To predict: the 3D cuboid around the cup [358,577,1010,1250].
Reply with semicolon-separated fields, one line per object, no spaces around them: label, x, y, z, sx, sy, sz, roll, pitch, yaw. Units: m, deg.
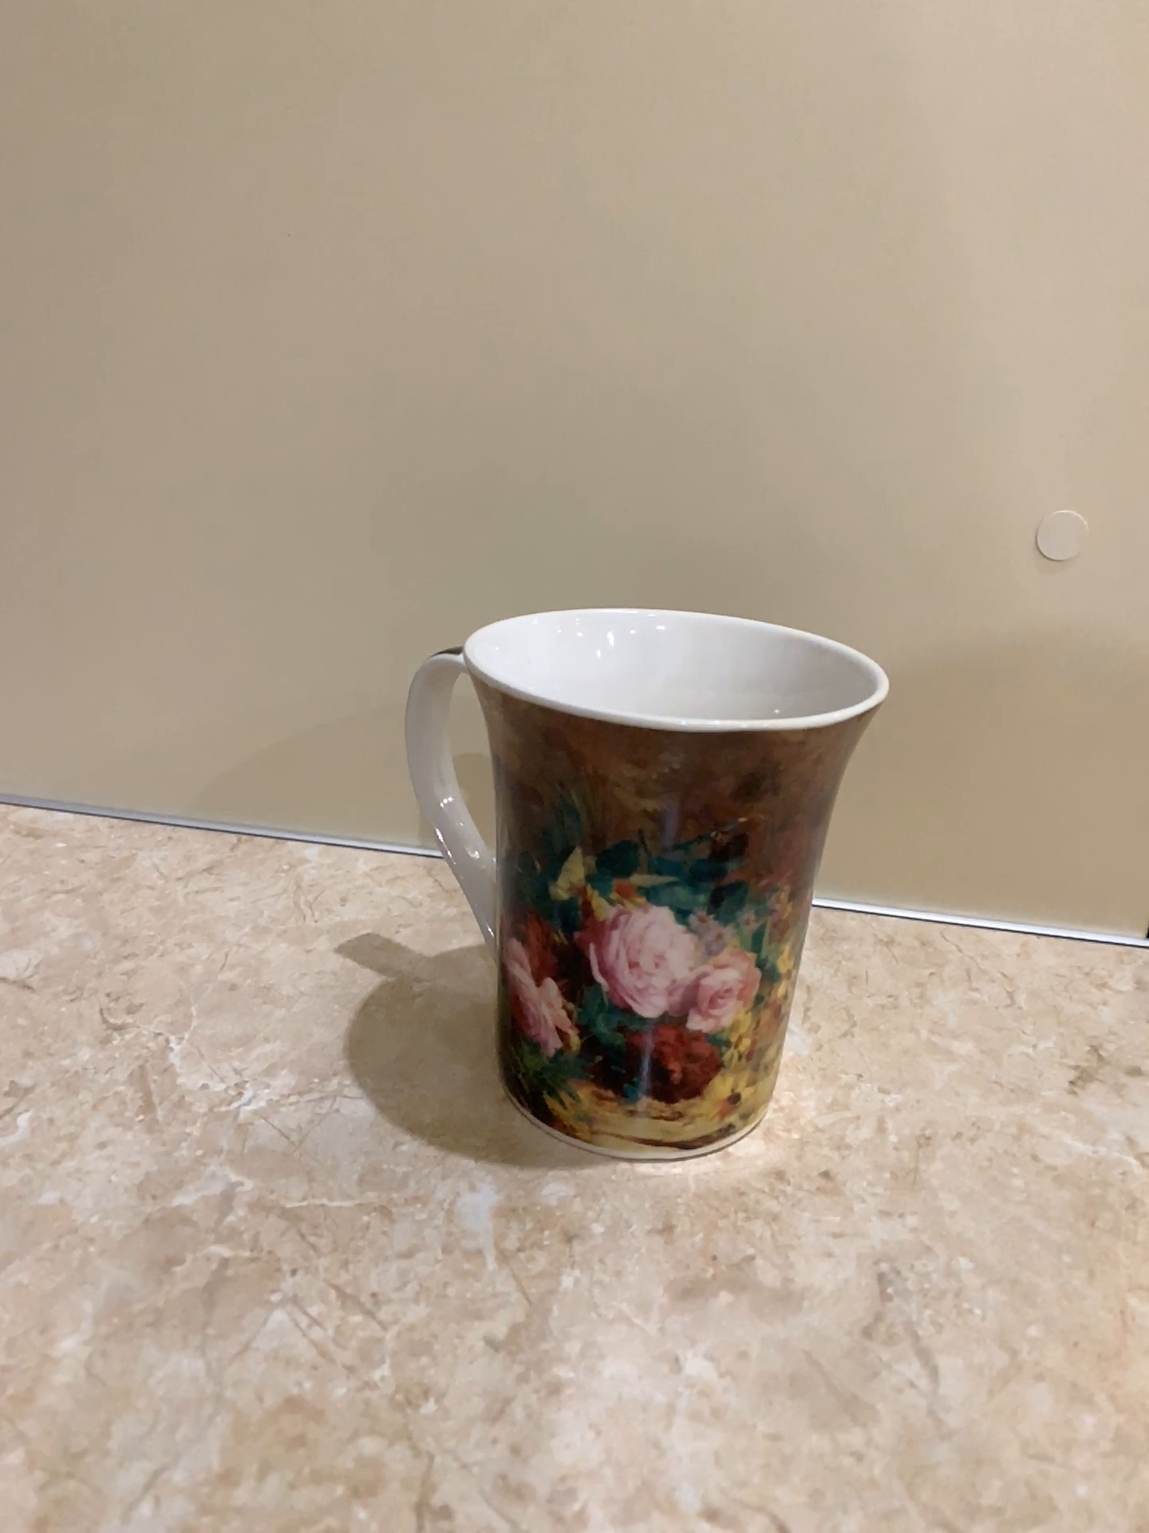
cup;0.019;0.020;0.269;0.094;0.096;0.101;3;21;-1
